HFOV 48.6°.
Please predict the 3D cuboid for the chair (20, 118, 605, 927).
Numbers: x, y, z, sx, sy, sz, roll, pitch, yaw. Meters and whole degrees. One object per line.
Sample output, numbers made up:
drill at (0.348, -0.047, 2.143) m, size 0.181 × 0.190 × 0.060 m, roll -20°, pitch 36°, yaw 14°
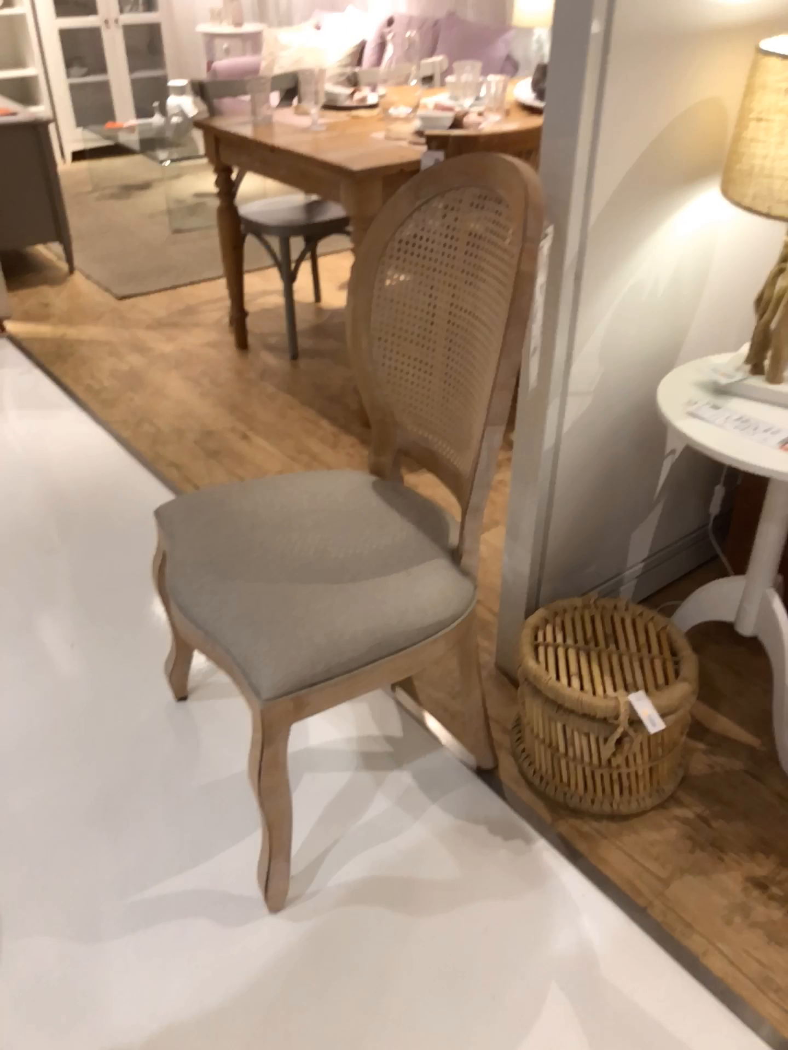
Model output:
chair at (-0.138, -0.029, 1.327) m, size 0.521 × 0.963 × 0.594 m, roll -16°, pitch 37°, yaw -23°
